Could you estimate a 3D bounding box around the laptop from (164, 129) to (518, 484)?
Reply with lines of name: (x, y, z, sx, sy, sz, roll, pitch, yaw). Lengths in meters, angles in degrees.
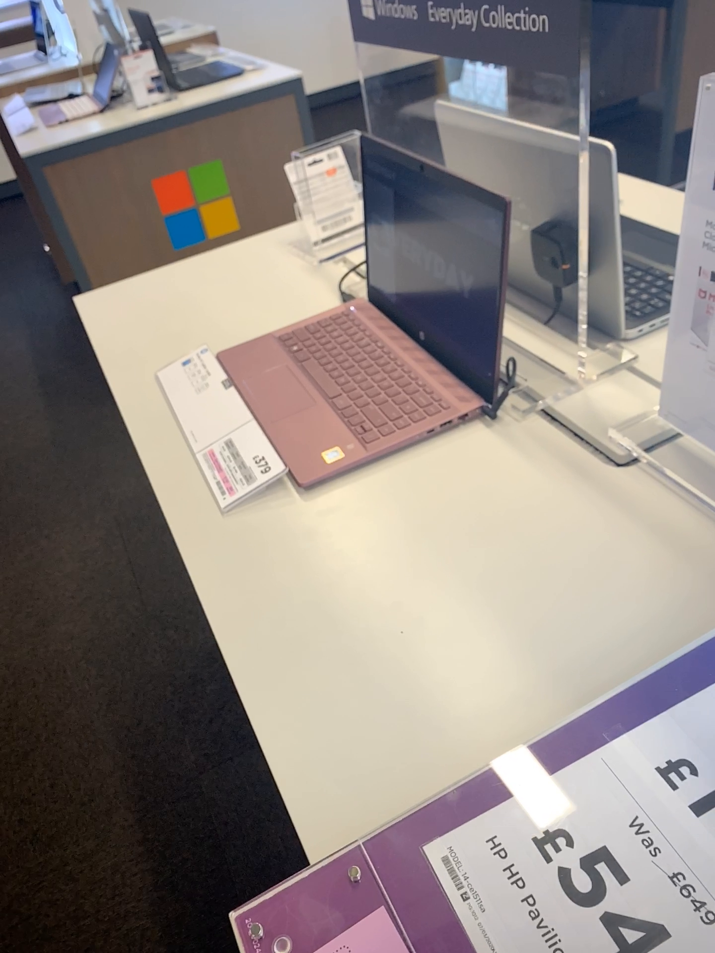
laptop: (-0.025, -0.202, 0.792, 0.249, 0.200, 0.314, -23, 40, -12)

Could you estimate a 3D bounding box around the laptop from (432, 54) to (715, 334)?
laptop: (0.283, -0.354, 0.880, 0.244, 0.186, 0.326, -23, 40, -14)
